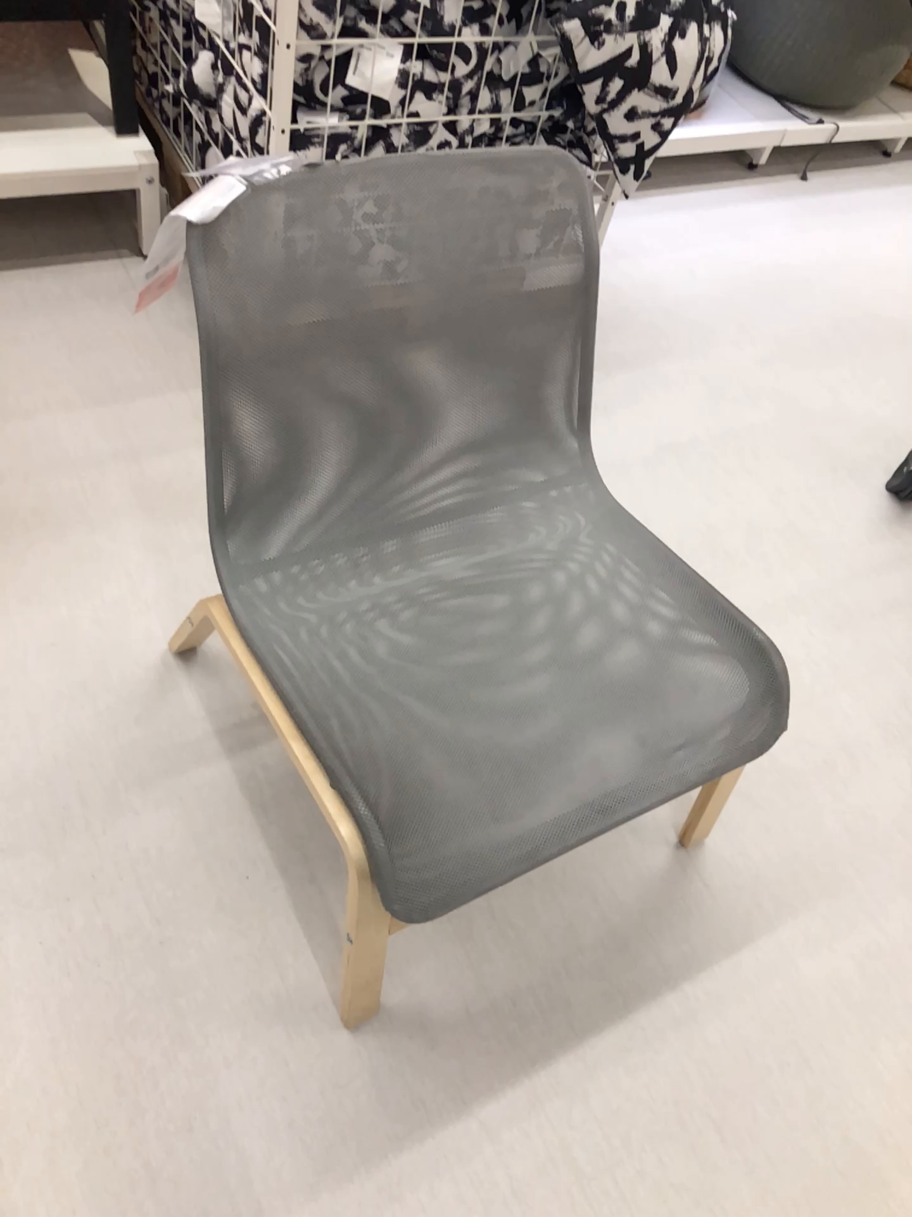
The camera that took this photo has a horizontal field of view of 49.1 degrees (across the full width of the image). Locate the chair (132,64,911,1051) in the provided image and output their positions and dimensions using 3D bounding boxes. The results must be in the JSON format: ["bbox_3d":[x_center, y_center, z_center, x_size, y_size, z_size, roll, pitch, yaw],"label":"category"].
[{"bbox_3d":[0.060,-0.050,1.180,0.631,0.825,0.642,-19,59,-27],"label":"chair"}]
